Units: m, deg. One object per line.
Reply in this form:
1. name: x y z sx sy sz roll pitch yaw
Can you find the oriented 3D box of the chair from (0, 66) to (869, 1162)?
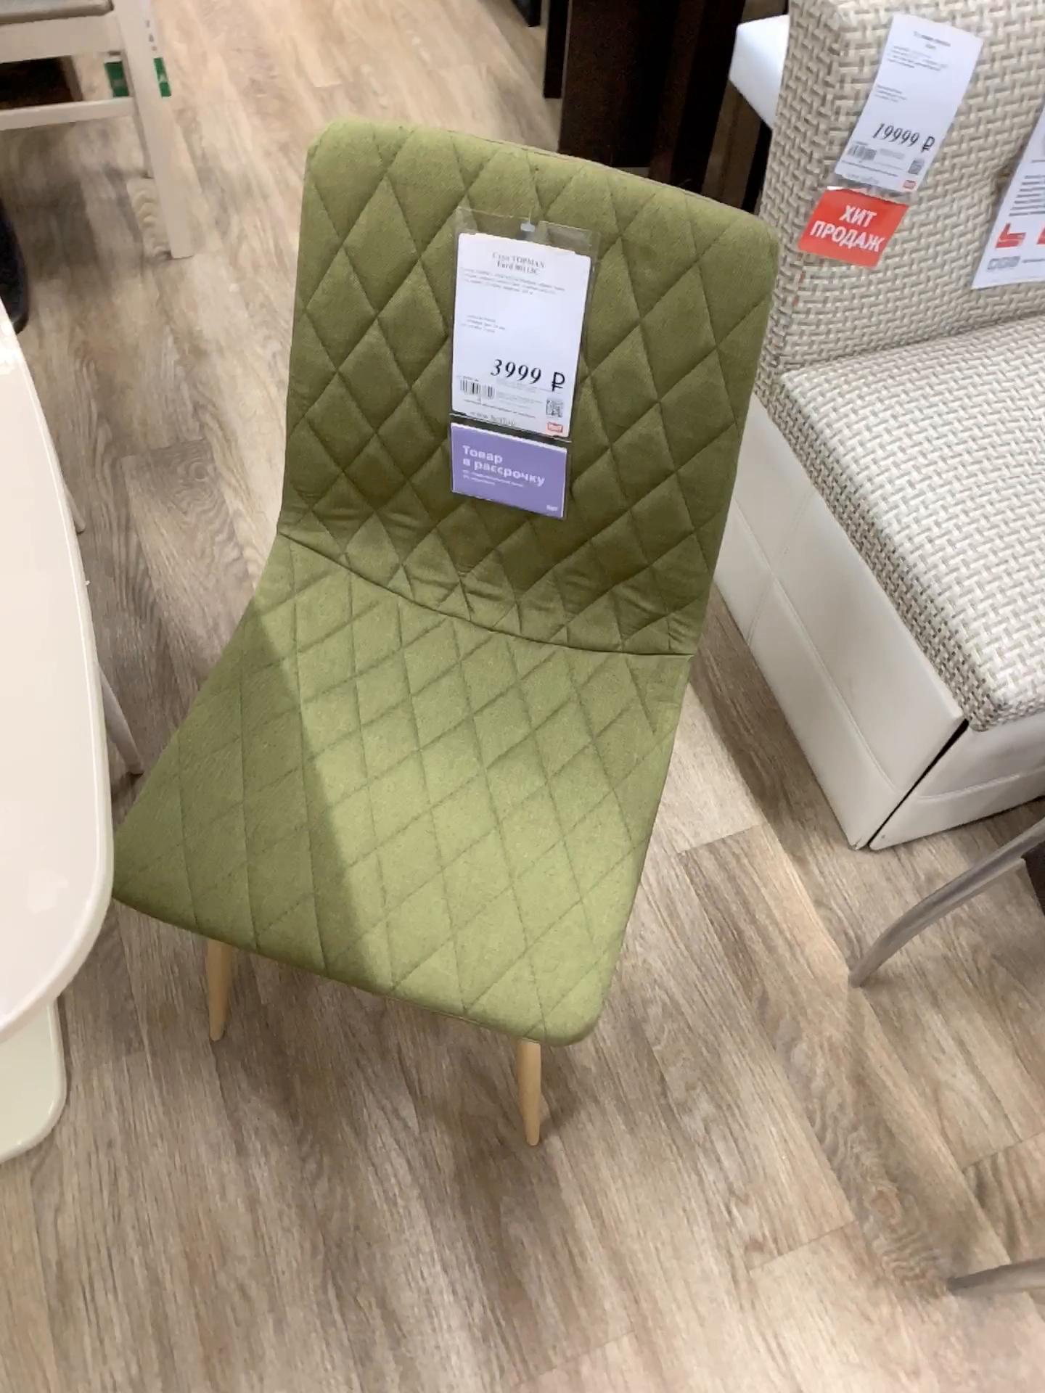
1. chair: -0.085 0.014 1.028 0.500 0.837 0.562 16 59 6
